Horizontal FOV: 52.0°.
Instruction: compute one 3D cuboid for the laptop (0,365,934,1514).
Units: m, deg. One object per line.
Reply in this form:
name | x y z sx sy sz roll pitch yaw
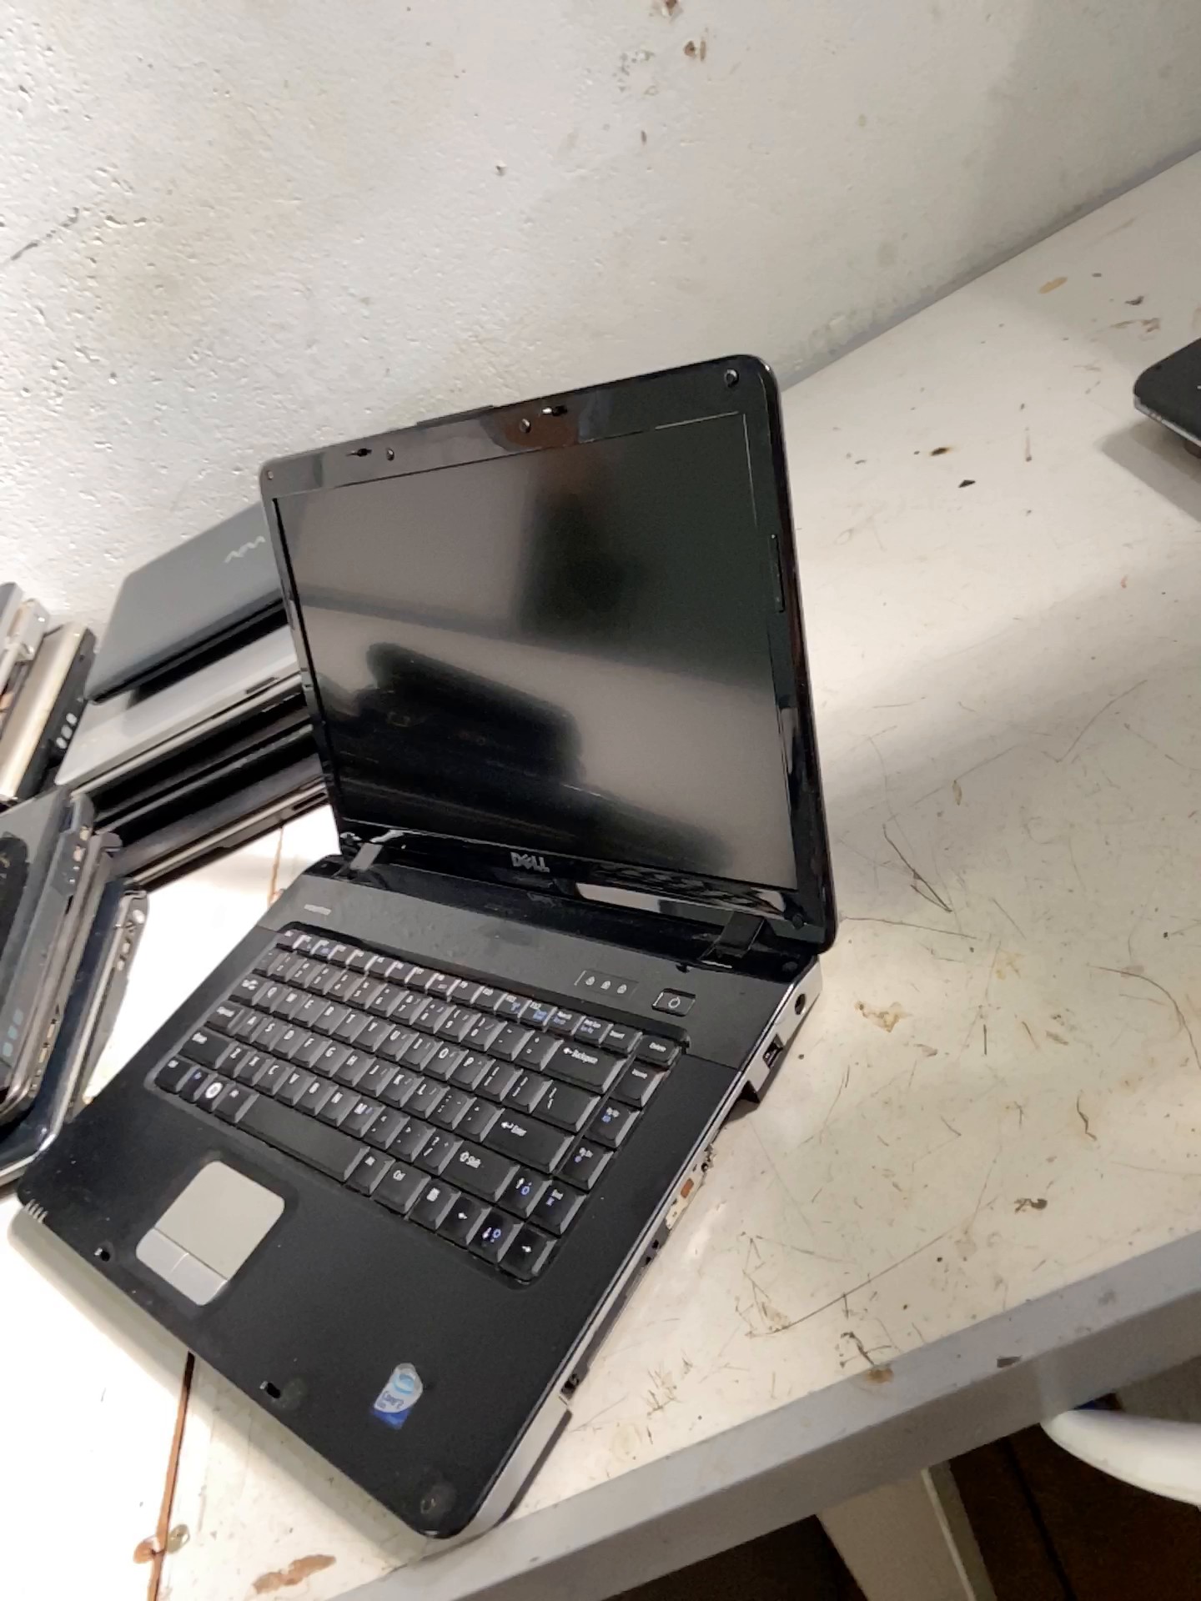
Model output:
laptop | -0.122 0.021 0.551 0.366 0.203 0.353 5 47 46
